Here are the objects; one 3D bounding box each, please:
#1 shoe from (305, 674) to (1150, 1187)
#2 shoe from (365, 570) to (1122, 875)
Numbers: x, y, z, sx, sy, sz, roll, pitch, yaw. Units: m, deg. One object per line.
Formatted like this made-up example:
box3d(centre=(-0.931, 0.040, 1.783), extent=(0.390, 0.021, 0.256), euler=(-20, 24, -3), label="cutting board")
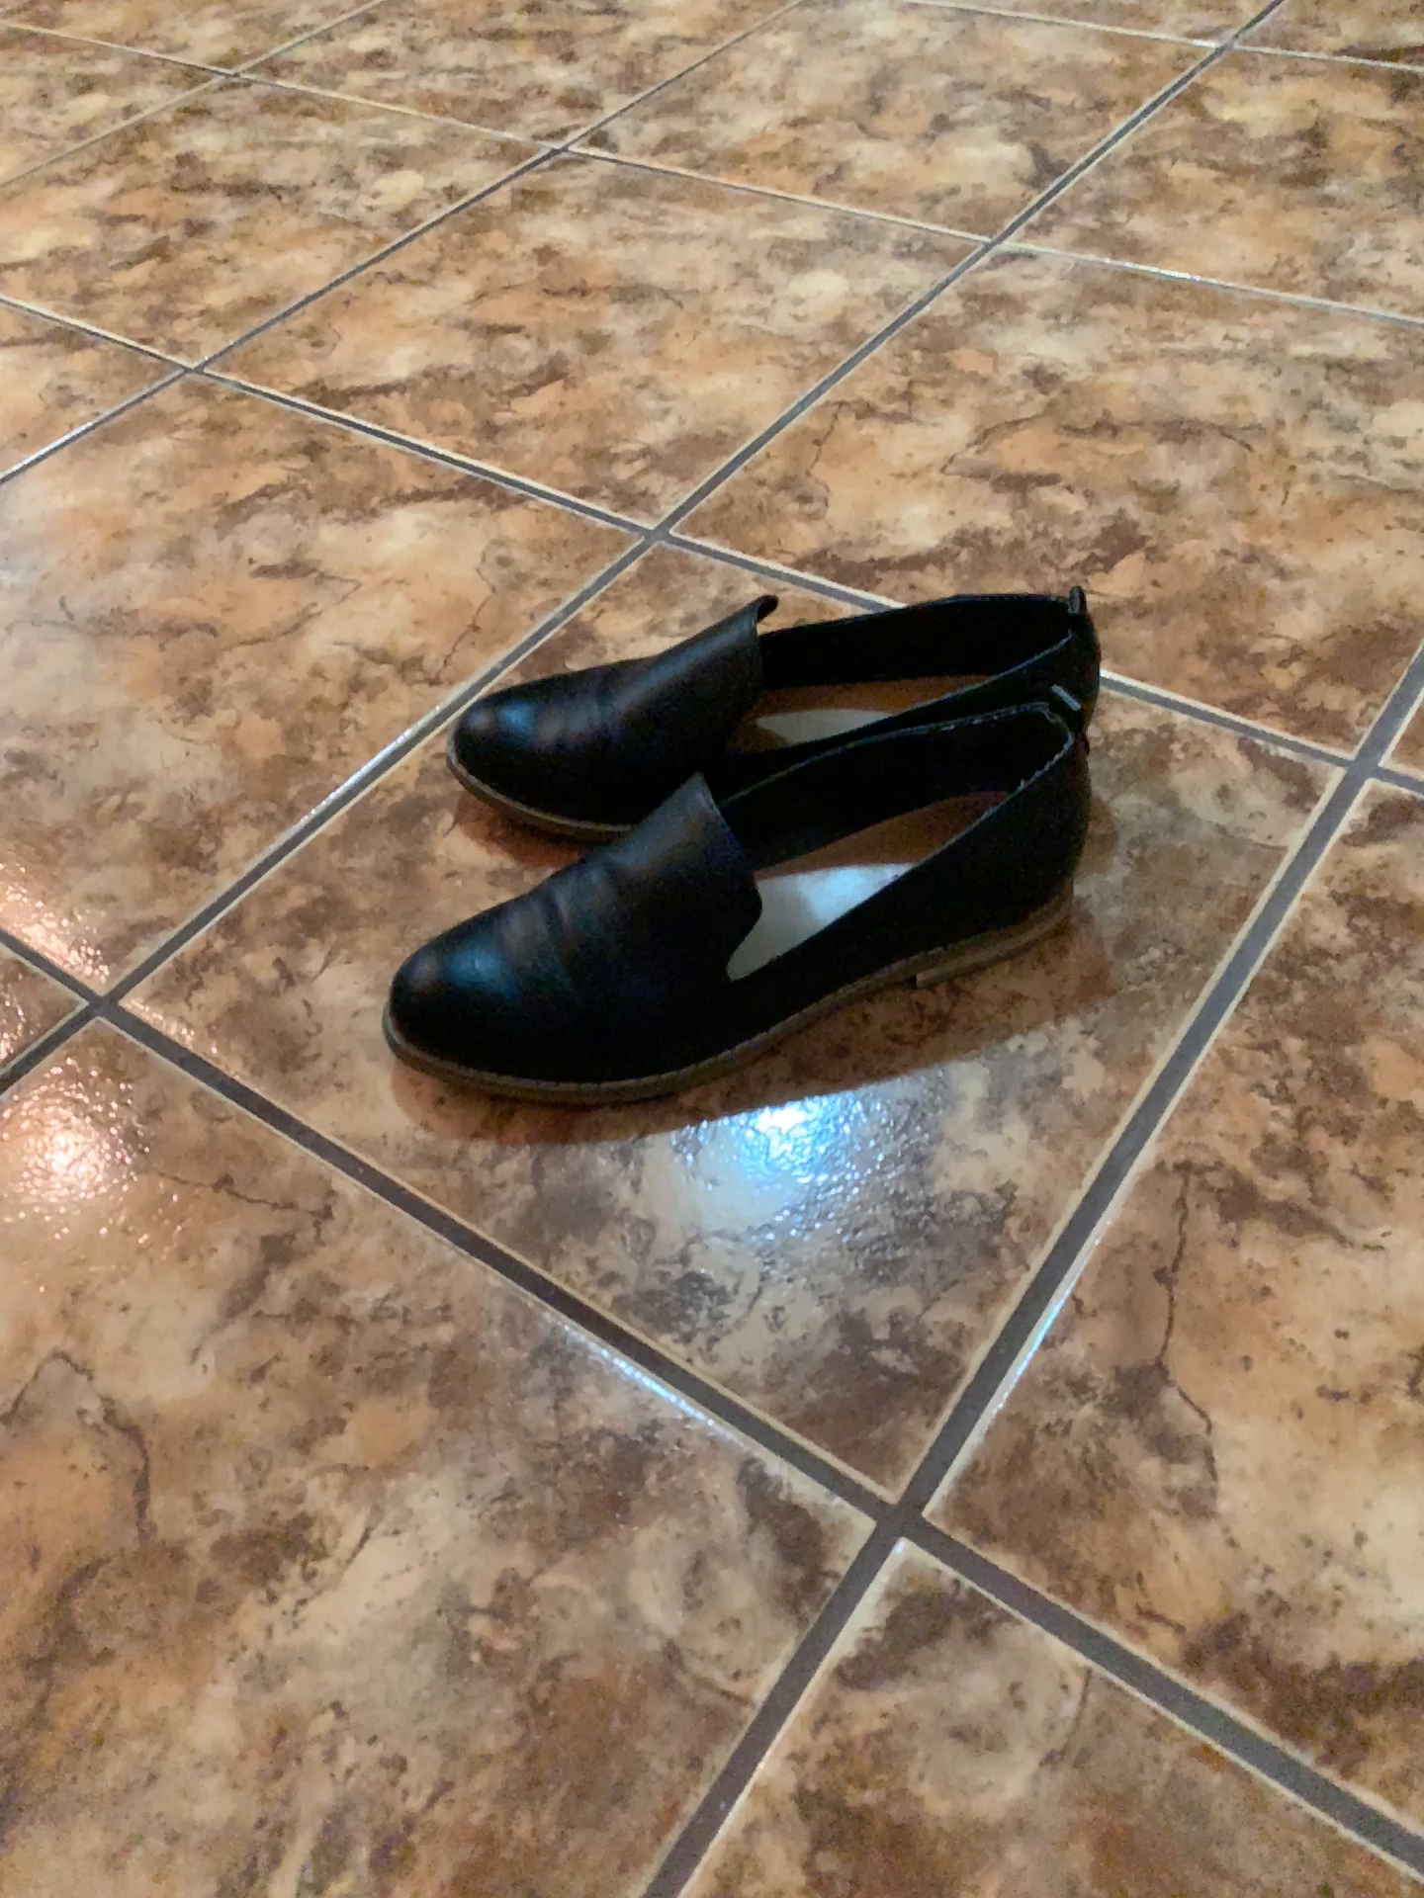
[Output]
box3d(centre=(0.004, -0.009, 0.486), extent=(0.255, 0.070, 0.088), euler=(-15, 49, -6), label="shoe")
box3d(centre=(0.014, -0.085, 0.539), extent=(0.256, 0.070, 0.086), euler=(2, 49, 8), label="shoe")
